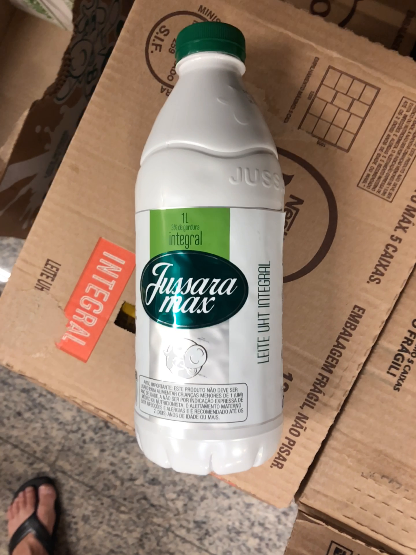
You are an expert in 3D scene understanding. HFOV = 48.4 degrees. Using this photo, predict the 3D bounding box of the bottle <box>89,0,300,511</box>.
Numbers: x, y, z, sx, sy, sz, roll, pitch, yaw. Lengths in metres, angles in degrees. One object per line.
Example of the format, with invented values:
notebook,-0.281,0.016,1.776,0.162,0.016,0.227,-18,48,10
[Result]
bottle,-0.003,-0.012,0.241,0.090,0.060,0.240,1,98,7
